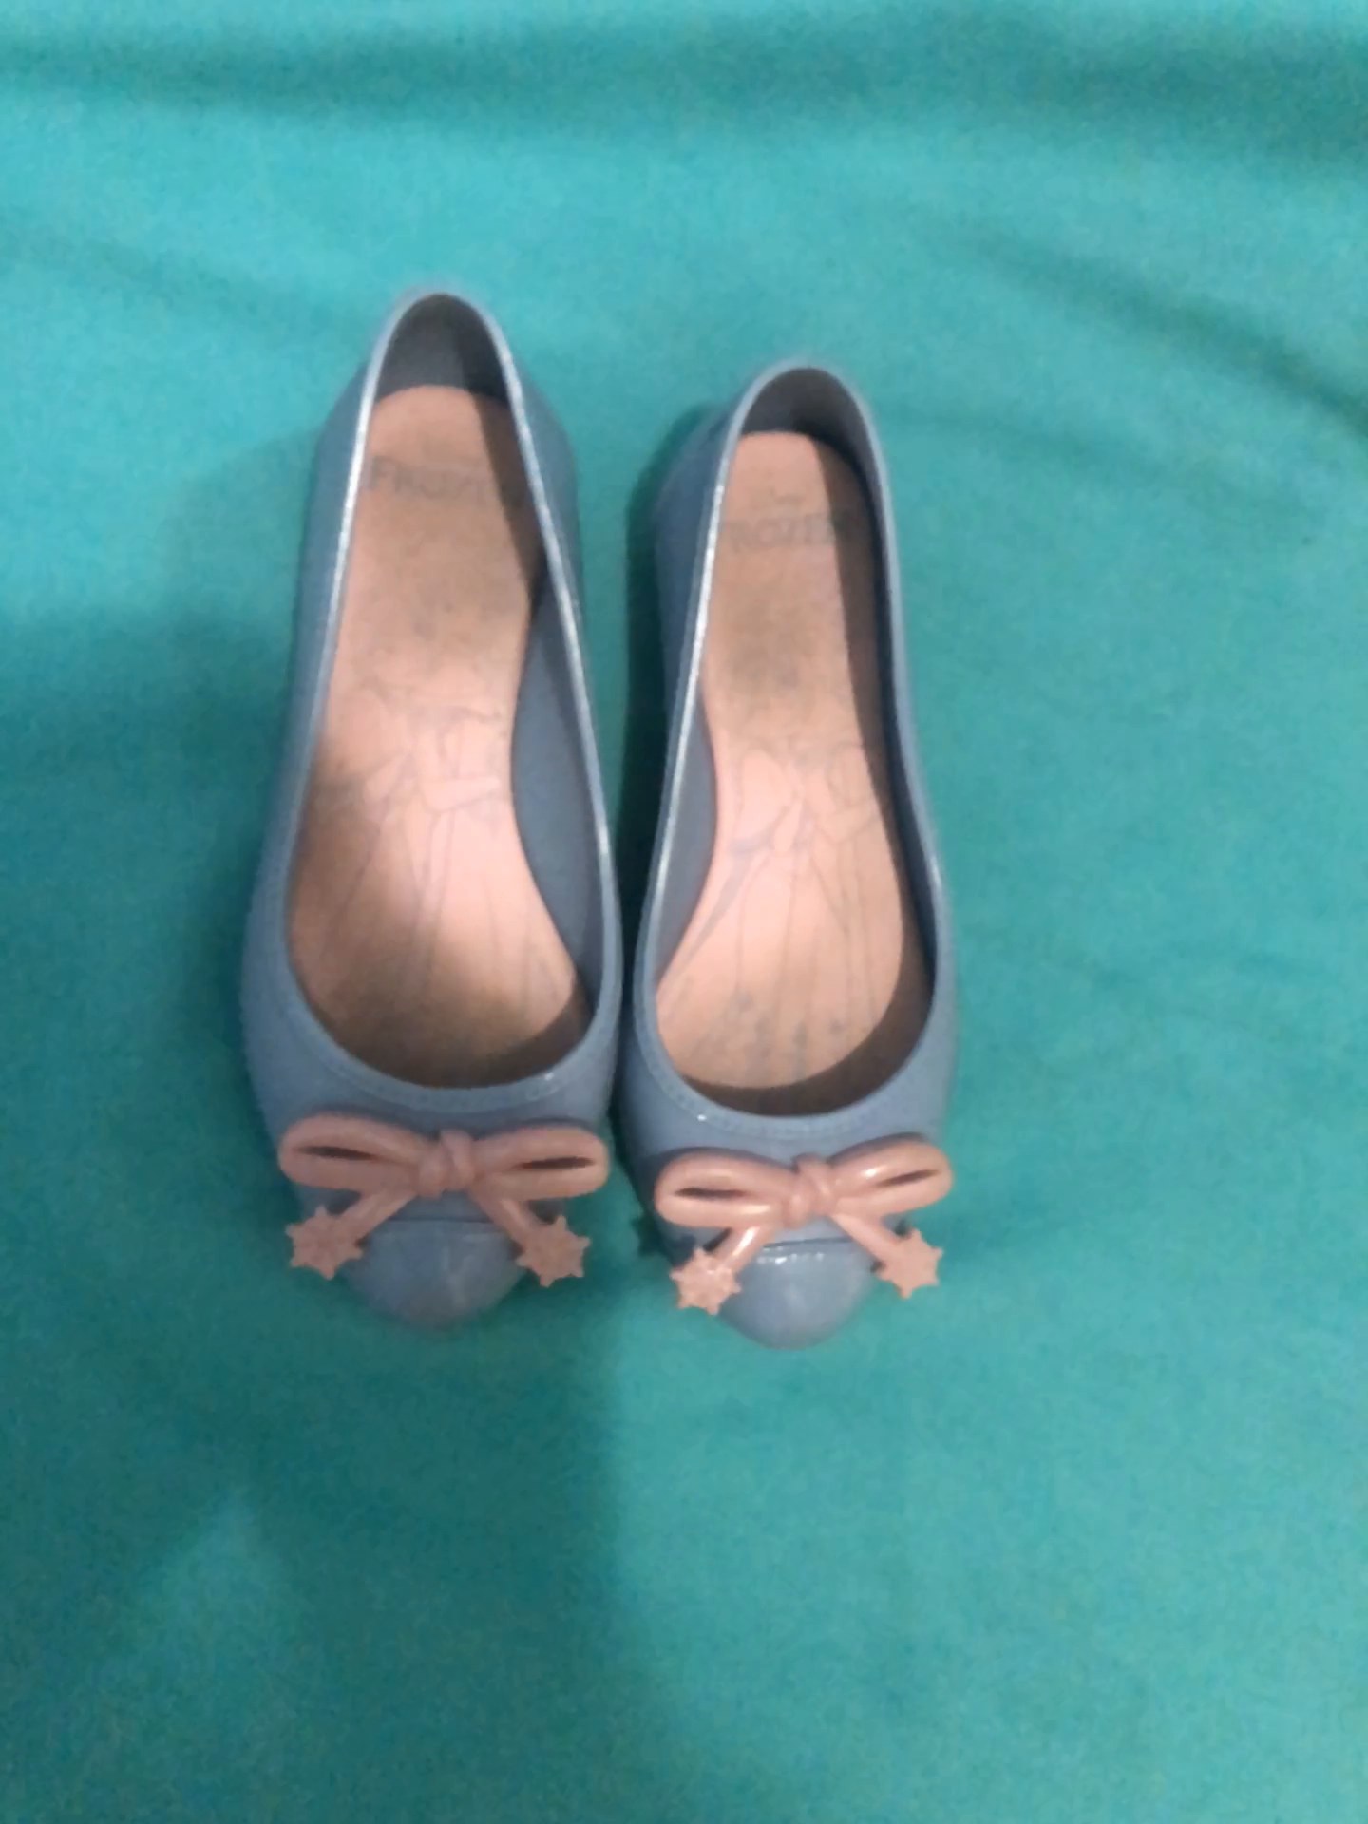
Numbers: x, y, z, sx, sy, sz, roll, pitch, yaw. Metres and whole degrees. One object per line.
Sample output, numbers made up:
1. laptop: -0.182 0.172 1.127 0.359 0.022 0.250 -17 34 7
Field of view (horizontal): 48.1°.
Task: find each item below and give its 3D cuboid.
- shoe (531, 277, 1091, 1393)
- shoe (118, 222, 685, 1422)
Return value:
1. shoe: 0.019 -0.015 0.295 0.080 0.060 0.190 -3 85 -11
2. shoe: -0.051 -0.017 0.277 0.080 0.060 0.190 -3 85 -11
